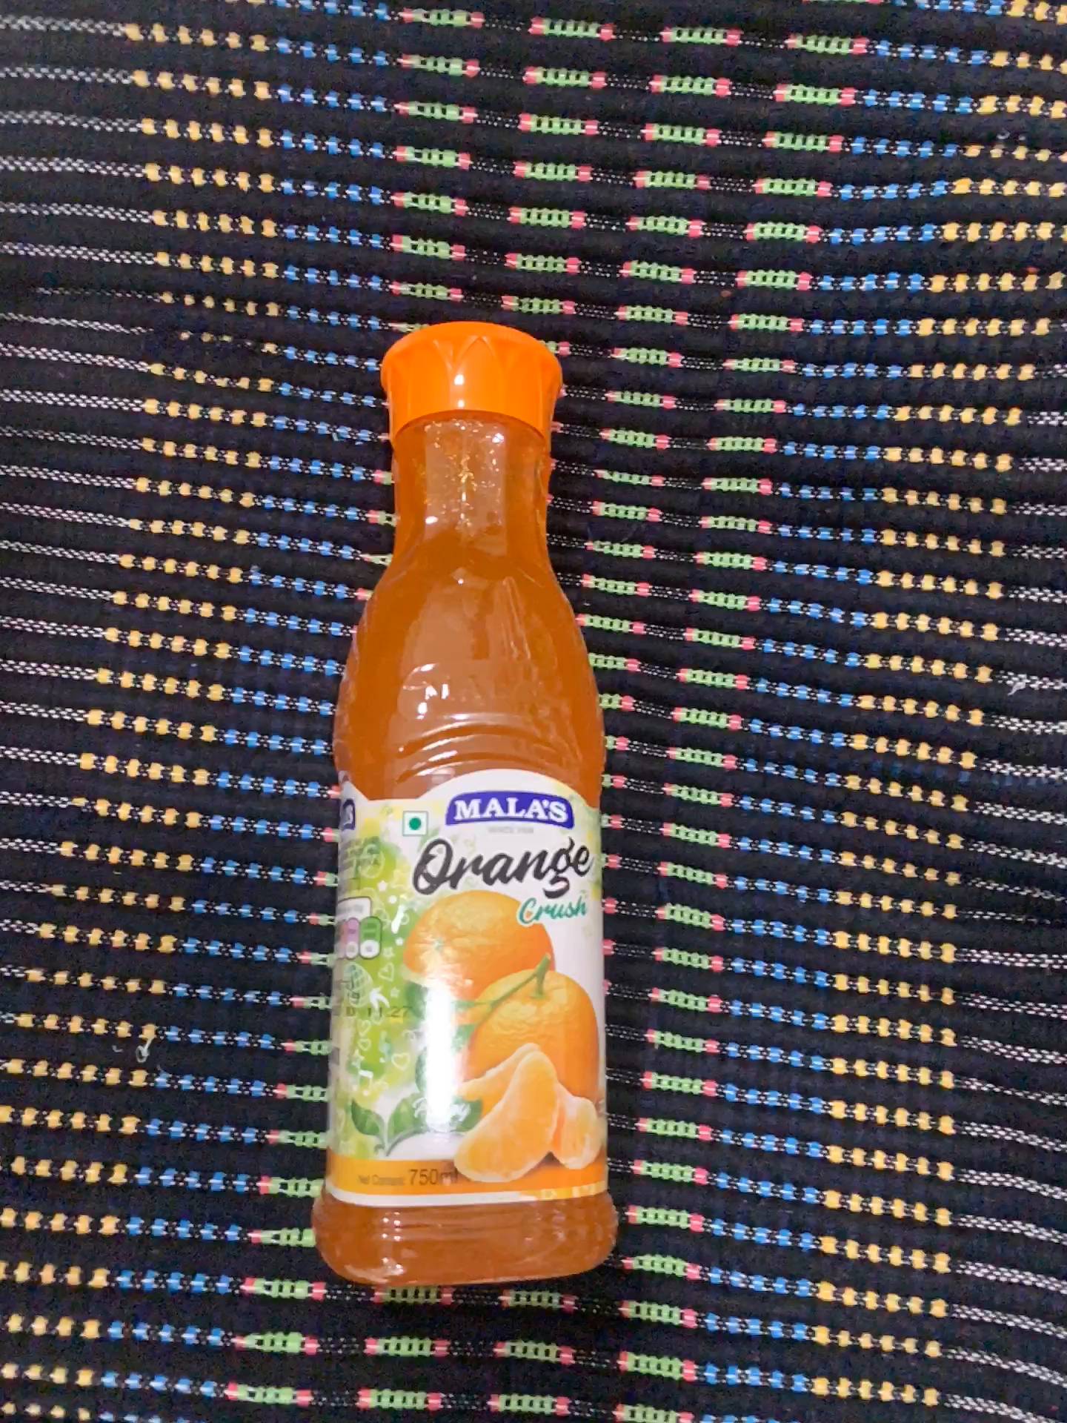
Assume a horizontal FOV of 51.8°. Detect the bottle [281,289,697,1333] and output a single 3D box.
[{"bbox_3d":[-0.013,0.020,0.275,0.080,0.080,0.220,5,74,-12],"label":"bottle"}]
